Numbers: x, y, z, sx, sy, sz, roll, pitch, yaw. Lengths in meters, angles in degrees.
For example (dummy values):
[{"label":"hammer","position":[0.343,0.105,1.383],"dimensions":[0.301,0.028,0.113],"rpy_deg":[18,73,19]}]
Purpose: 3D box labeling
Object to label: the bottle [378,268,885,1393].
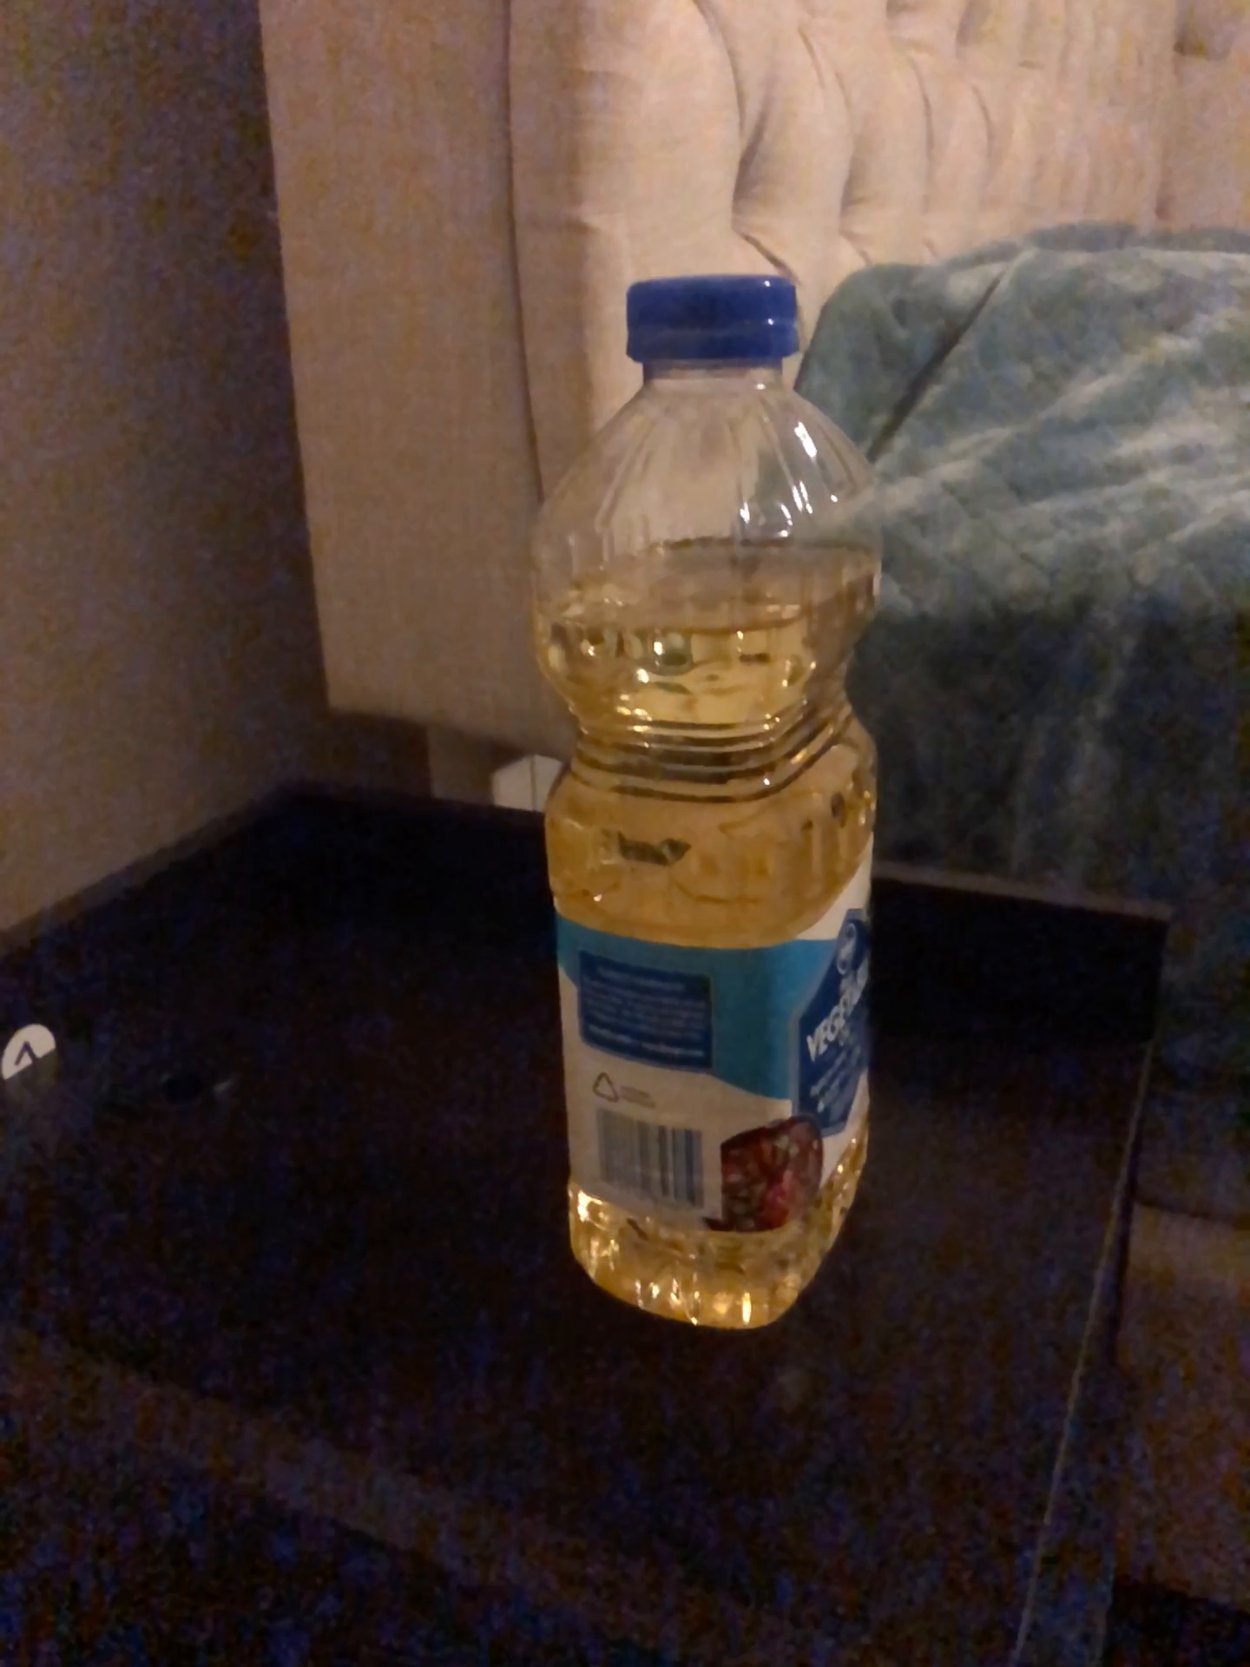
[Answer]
[{"label":"bottle","position":[0.013,-0.004,0.380],"dimensions":[0.083,0.276,0.110],"rpy_deg":[7,24,23]}]
